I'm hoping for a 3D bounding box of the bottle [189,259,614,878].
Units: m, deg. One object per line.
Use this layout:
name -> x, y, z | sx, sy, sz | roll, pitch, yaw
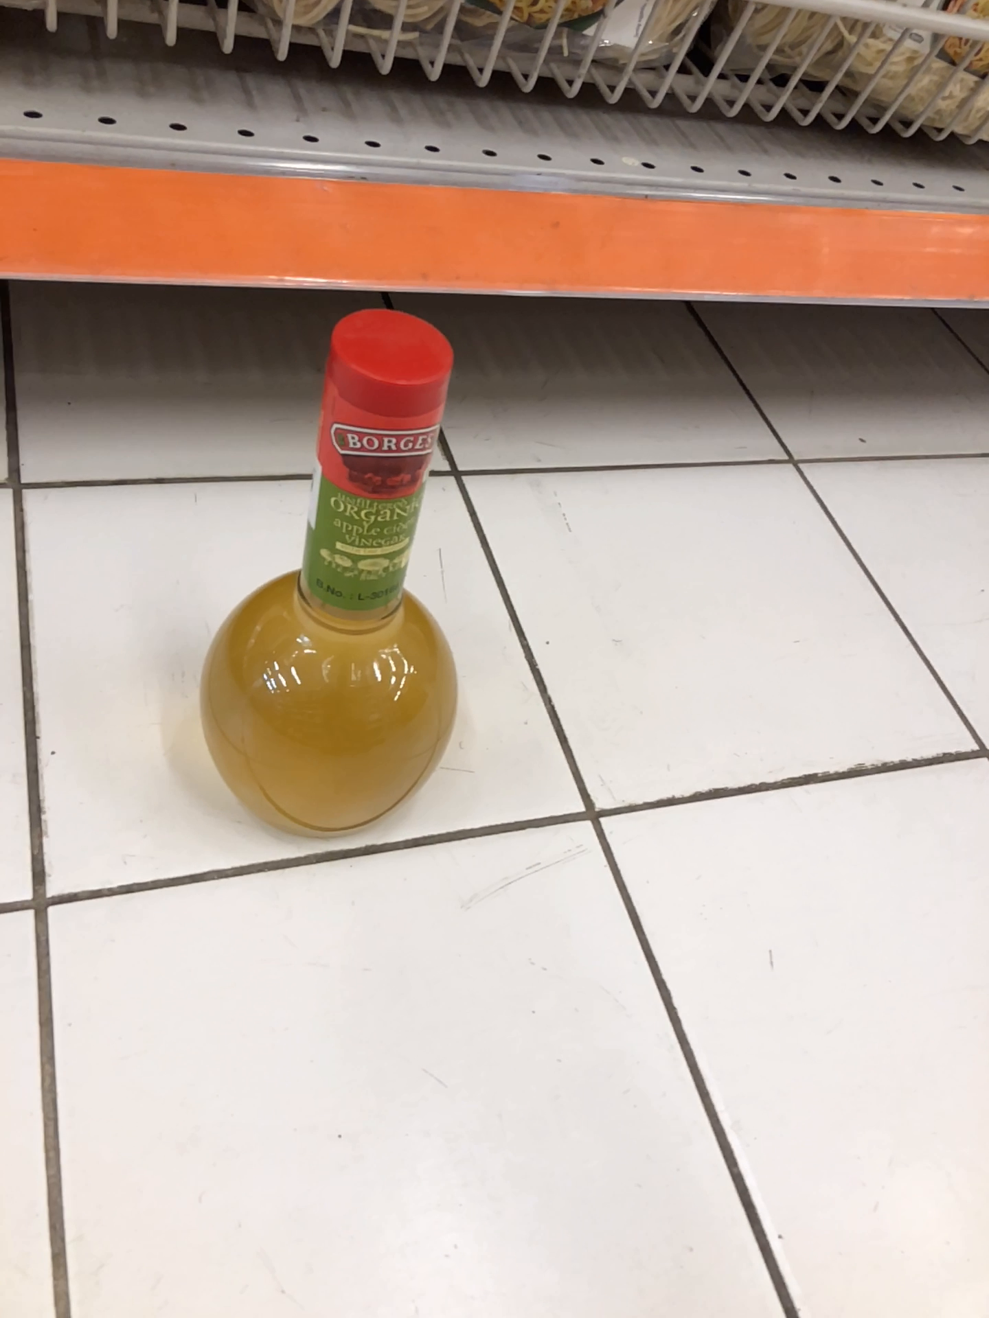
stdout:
bottle -> -0.043, -0.020, 0.339 | 0.090, 0.169, 0.090 | 8, 48, -9
